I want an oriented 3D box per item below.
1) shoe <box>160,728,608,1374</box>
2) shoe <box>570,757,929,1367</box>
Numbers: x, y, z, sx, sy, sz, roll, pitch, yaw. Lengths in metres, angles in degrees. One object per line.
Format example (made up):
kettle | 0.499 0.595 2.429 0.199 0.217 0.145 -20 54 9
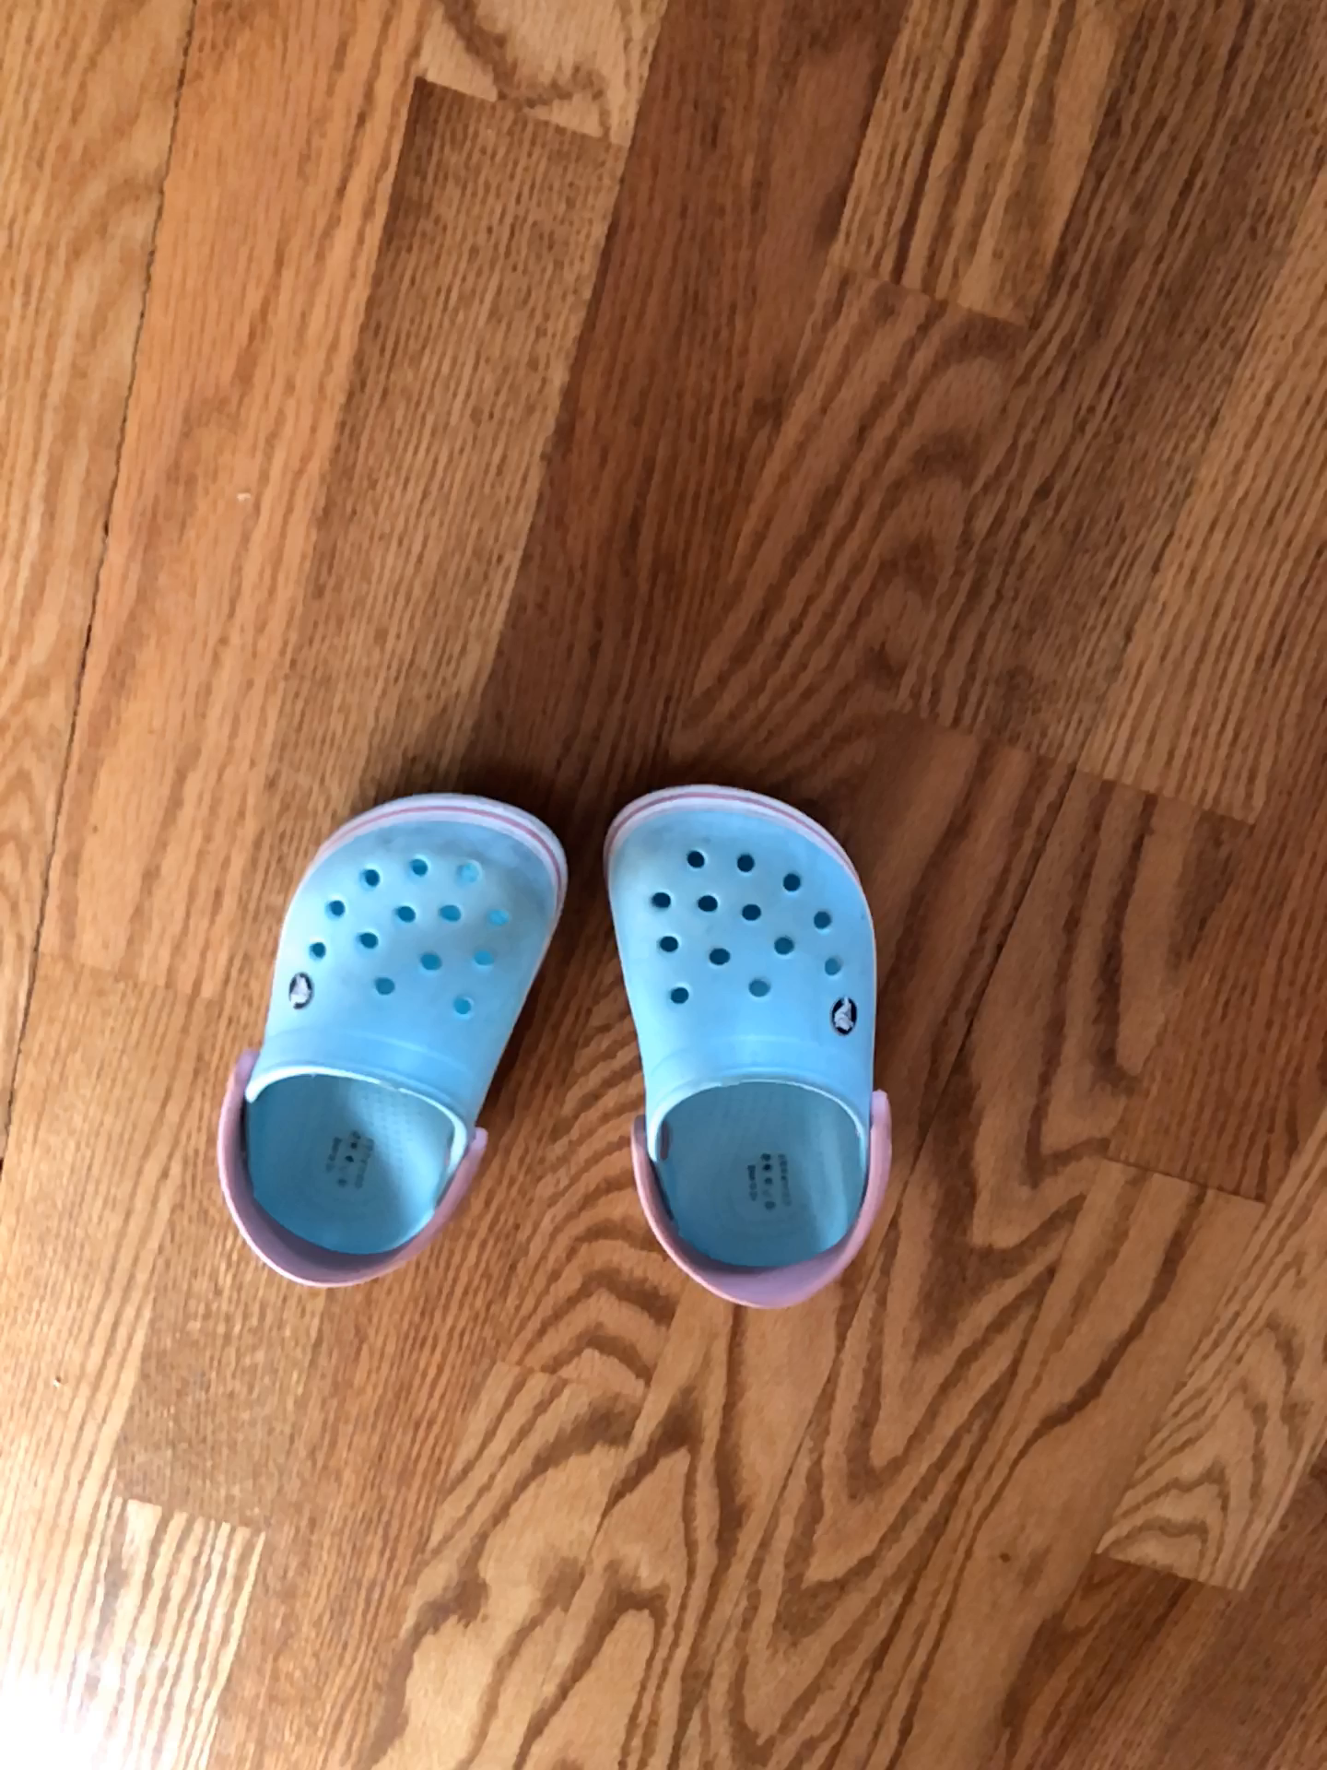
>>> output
shoe | -0.082 0.050 0.435 0.083 0.057 0.165 17 108 -4
shoe | 0.027 0.053 0.430 0.083 0.048 0.165 -6 108 3
